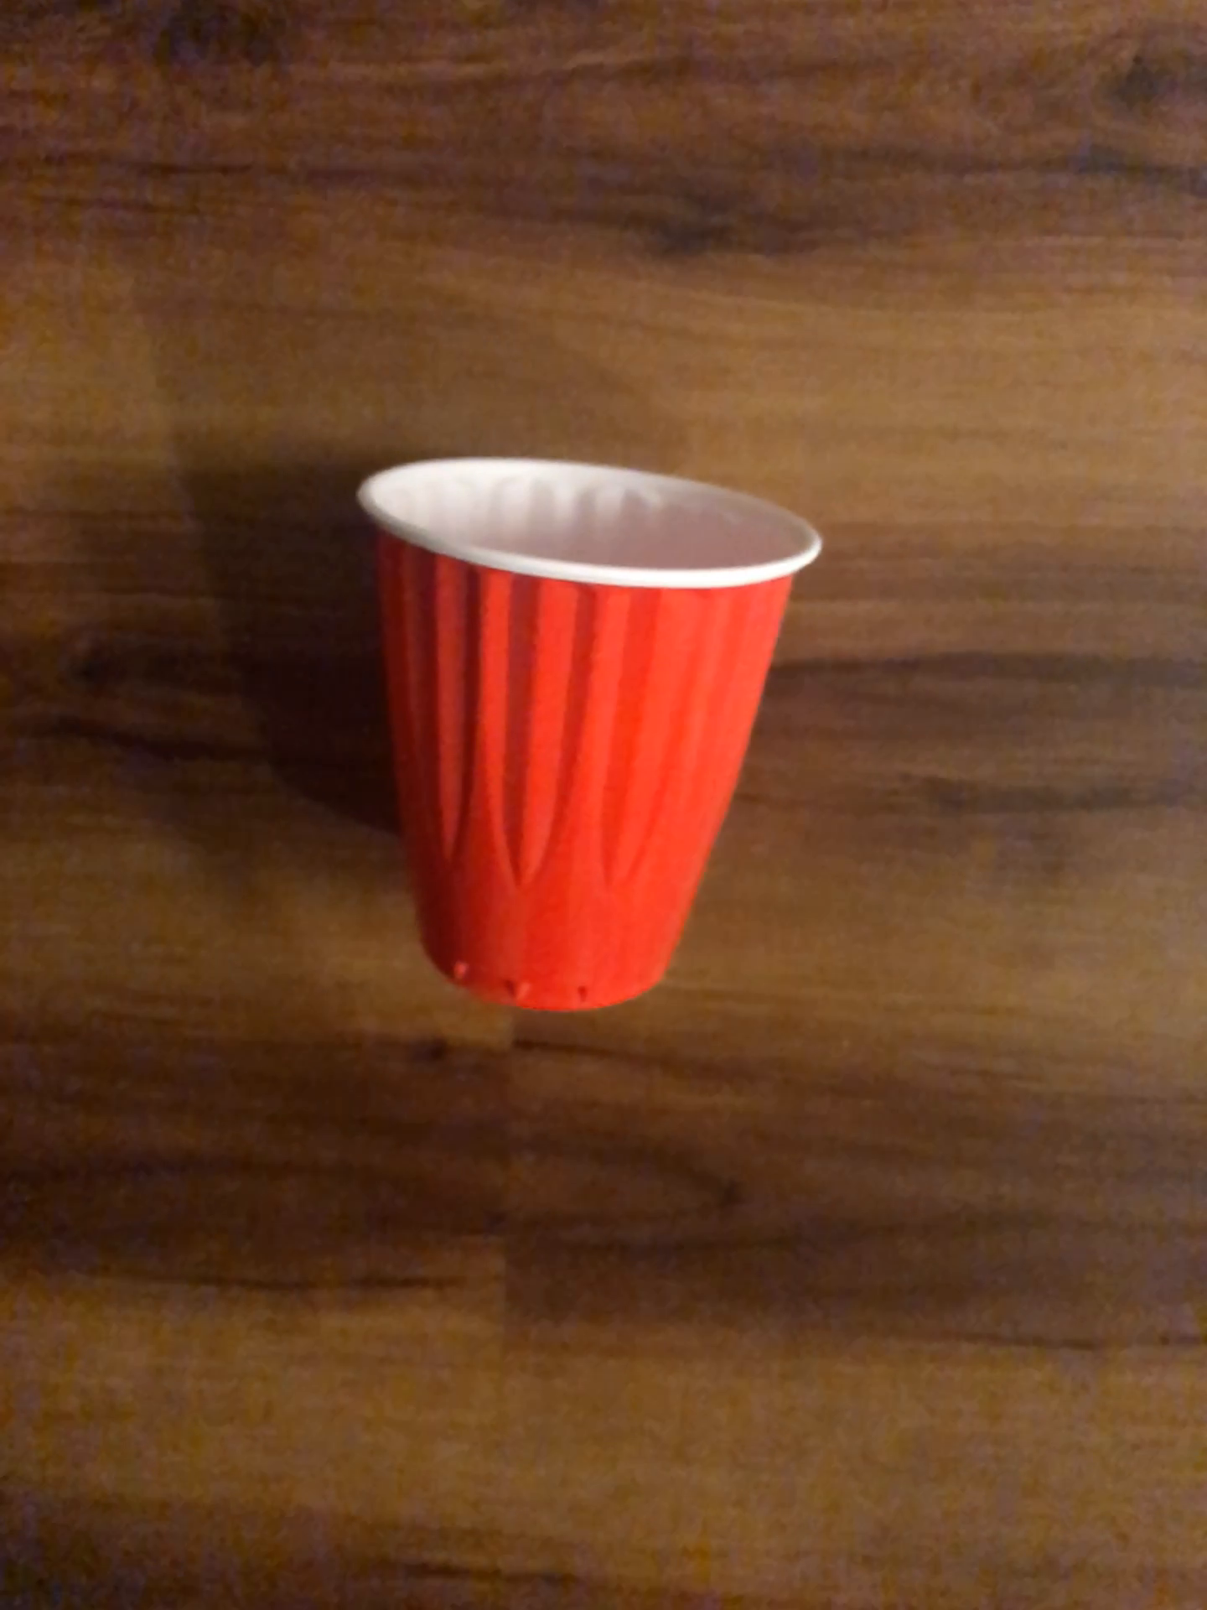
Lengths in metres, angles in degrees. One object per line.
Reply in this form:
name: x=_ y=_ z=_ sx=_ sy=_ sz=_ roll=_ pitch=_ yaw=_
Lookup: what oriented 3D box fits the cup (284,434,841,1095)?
cup: x=-0.010 y=-0.014 z=0.315 sx=0.099 sy=0.089 sz=0.115 roll=9 pitch=113 yaw=1
